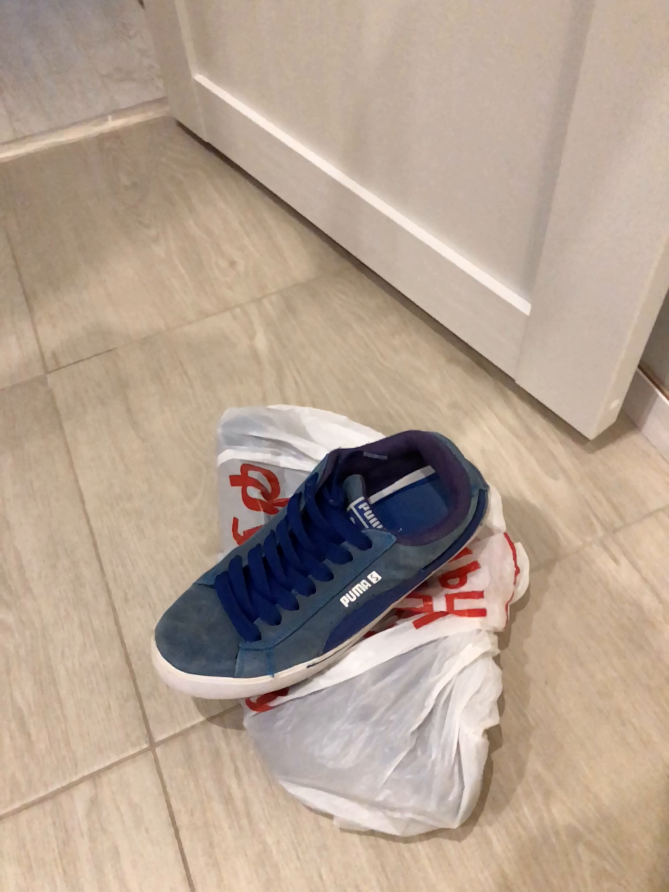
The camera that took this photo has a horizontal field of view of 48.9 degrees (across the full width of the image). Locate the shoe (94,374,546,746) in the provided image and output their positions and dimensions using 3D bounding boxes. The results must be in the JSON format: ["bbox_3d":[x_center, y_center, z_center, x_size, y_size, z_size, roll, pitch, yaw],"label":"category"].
[{"bbox_3d":[-0.003,0.076,0.545,0.300,0.099,0.110,-27,50,-15],"label":"shoe"}]
